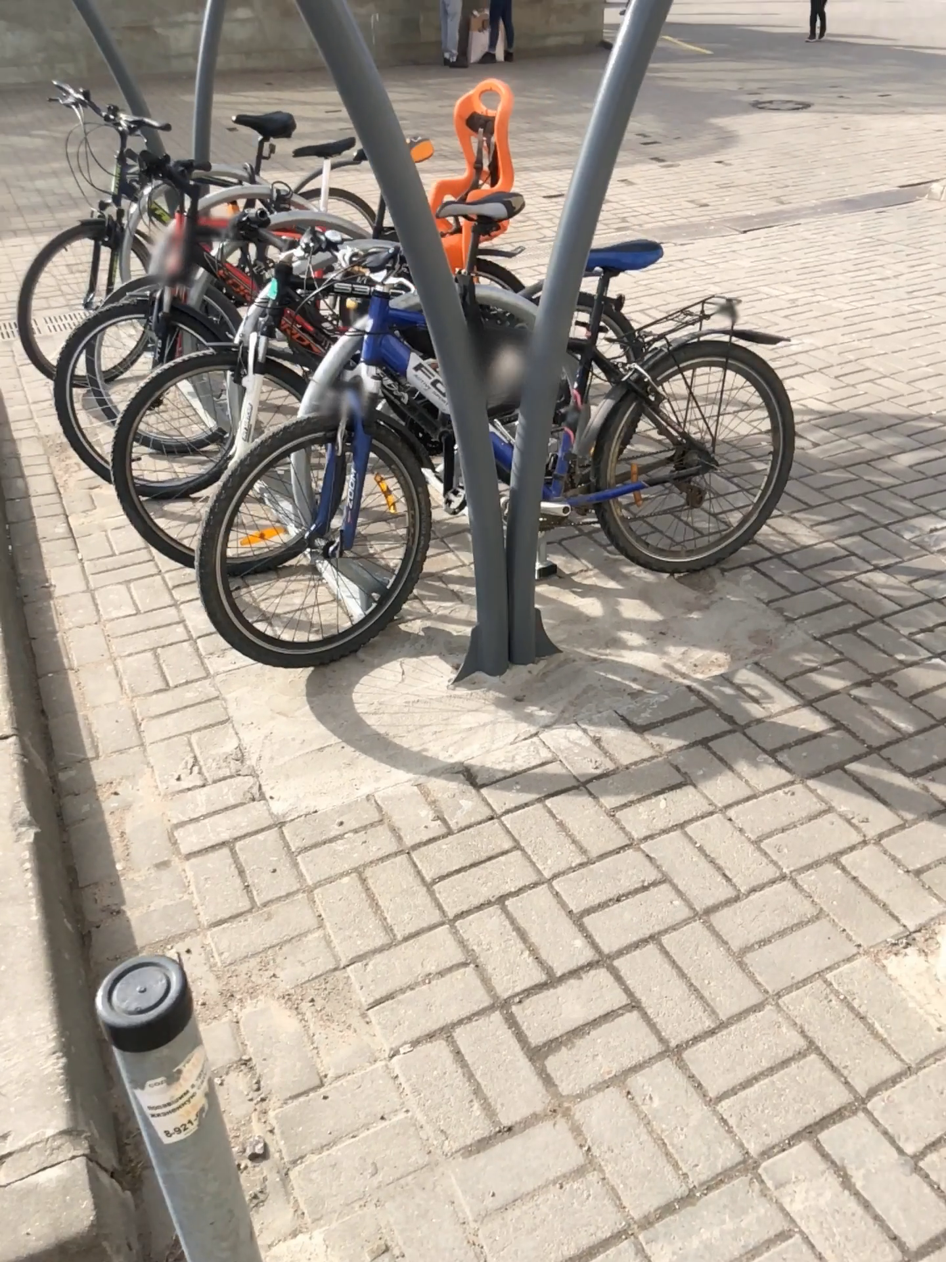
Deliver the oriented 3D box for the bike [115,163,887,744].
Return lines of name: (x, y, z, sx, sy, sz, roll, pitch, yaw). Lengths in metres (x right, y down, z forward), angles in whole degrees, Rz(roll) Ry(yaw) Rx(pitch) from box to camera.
bike: (0.101, -0.522, 2.537, 1.661, 0.959, 0.629, -15, 36, -22)
